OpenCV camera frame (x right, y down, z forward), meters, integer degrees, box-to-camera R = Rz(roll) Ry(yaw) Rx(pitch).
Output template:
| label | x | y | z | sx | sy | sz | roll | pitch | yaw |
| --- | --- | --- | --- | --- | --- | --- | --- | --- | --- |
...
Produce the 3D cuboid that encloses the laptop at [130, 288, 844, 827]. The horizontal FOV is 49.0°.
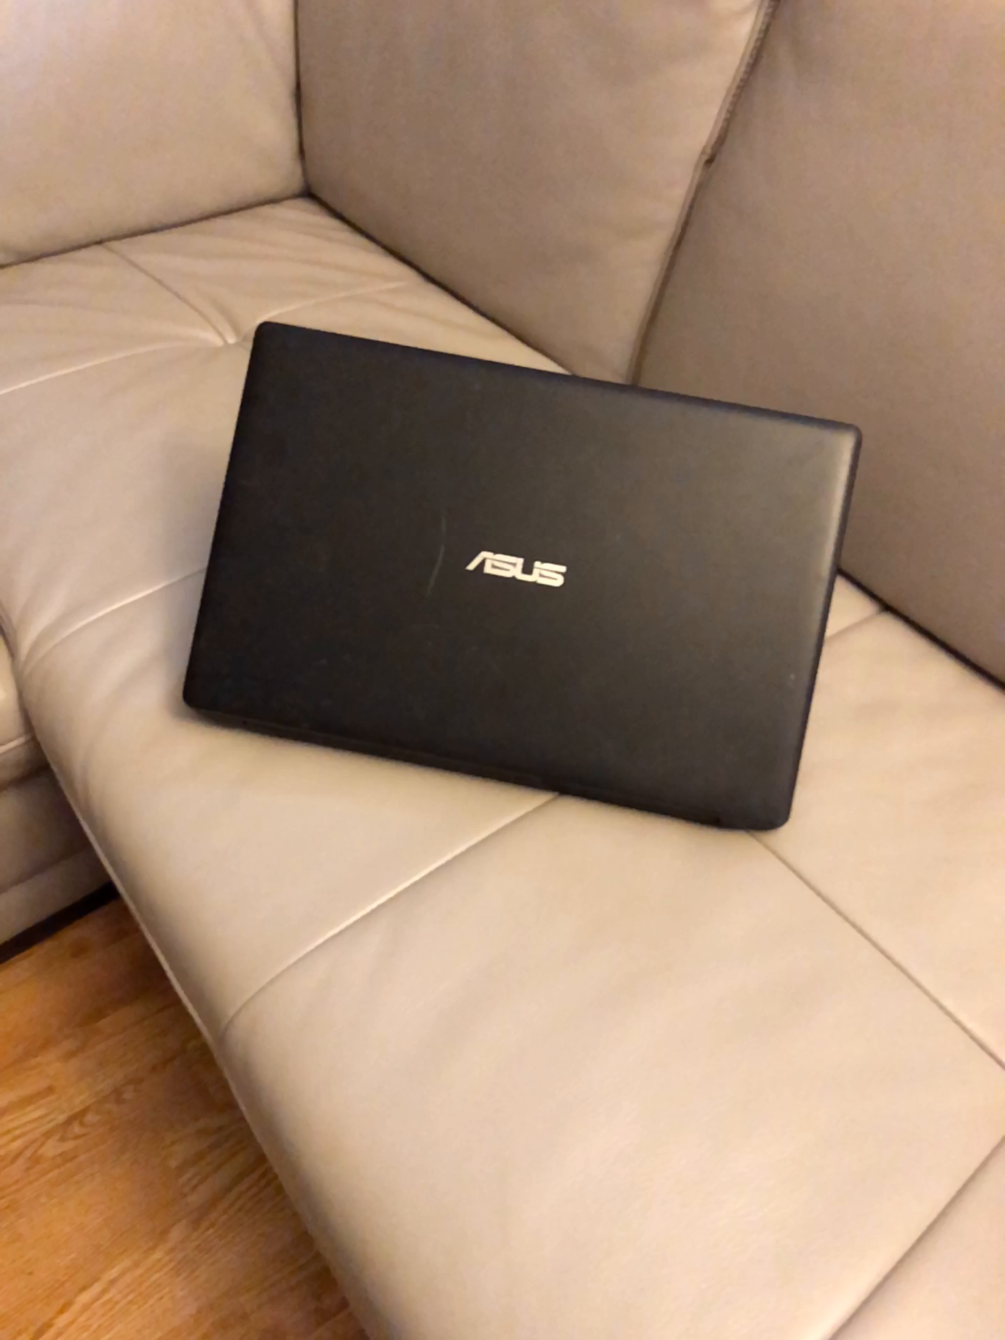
| label | x | y | z | sx | sy | sz | roll | pitch | yaw |
| --- | --- | --- | --- | --- | --- | --- | --- | --- | --- |
| laptop | 0.008 | -0.082 | 0.698 | 0.370 | 0.155 | 0.243 | 11 | 47 | 6 |
